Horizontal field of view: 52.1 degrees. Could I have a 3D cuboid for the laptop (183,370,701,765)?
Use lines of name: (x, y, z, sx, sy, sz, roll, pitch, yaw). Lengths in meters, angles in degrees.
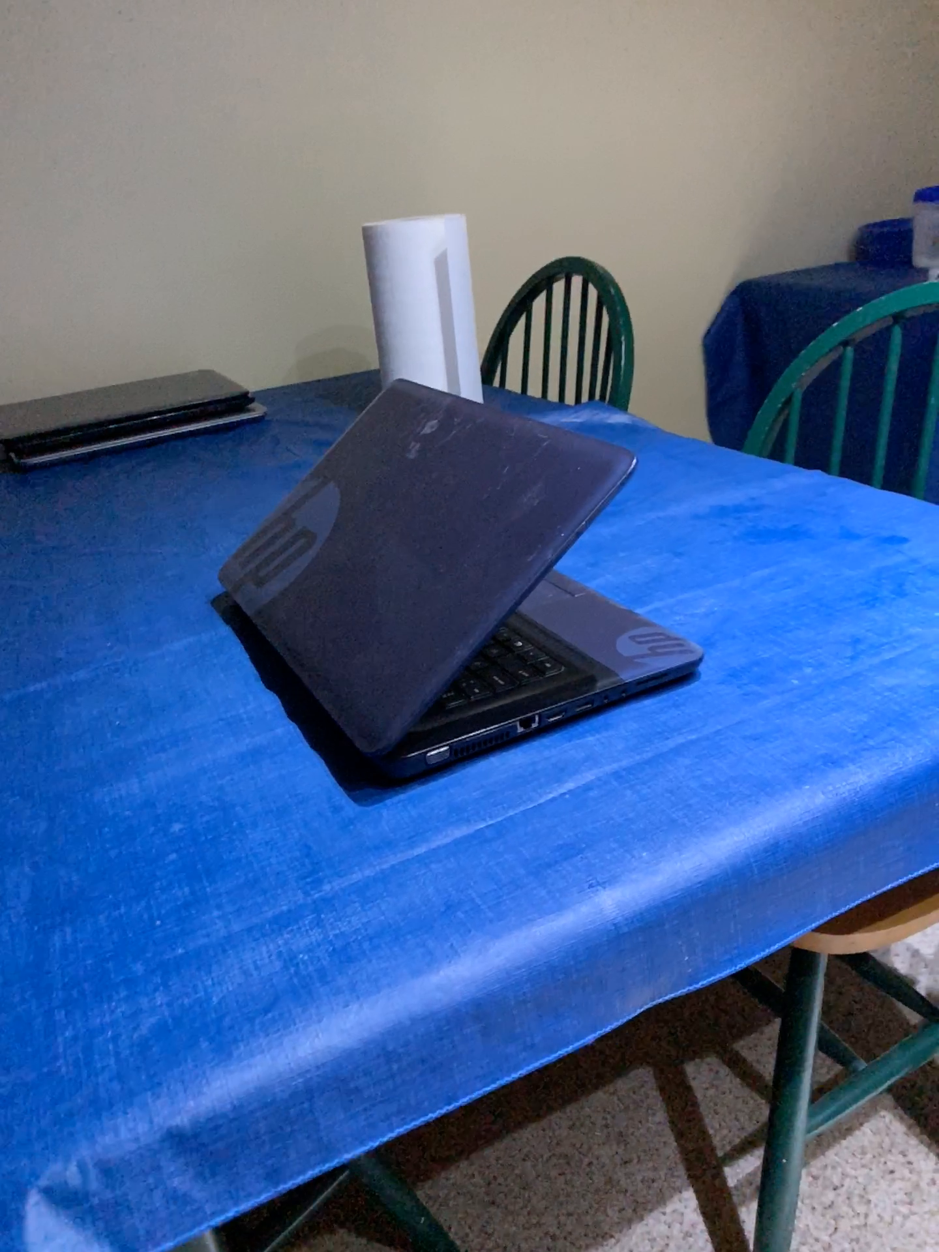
laptop: (-0.039, -0.079, 0.719, 0.239, 0.141, 0.365, -16, 27, -24)
